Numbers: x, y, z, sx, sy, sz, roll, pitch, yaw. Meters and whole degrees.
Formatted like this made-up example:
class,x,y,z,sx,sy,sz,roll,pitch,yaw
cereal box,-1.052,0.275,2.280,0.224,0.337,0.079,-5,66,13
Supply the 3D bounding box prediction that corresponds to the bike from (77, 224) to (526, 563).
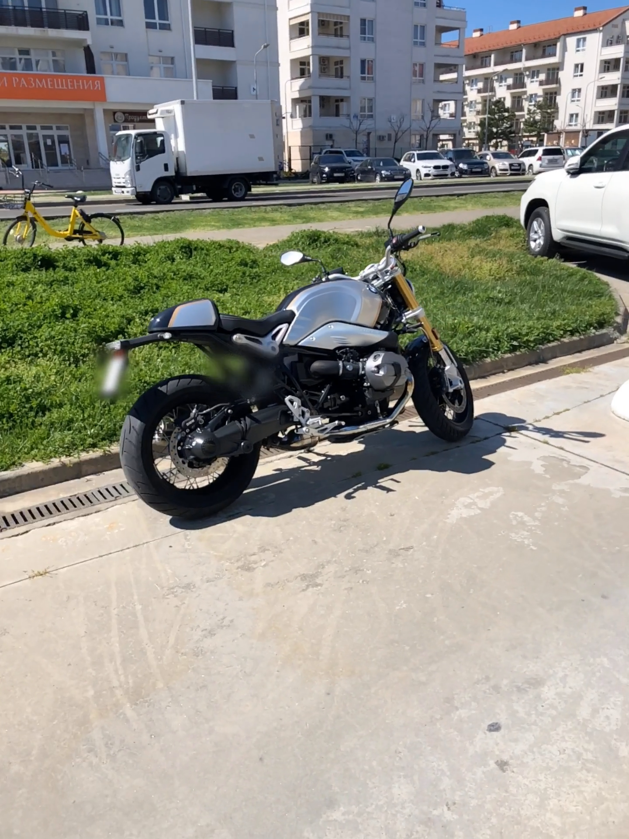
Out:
class,x,y,z,sx,sy,sz,roll,pitch,yaw
bike,0.079,-0.286,3.355,2.072,1.122,0.648,-17,26,-37
